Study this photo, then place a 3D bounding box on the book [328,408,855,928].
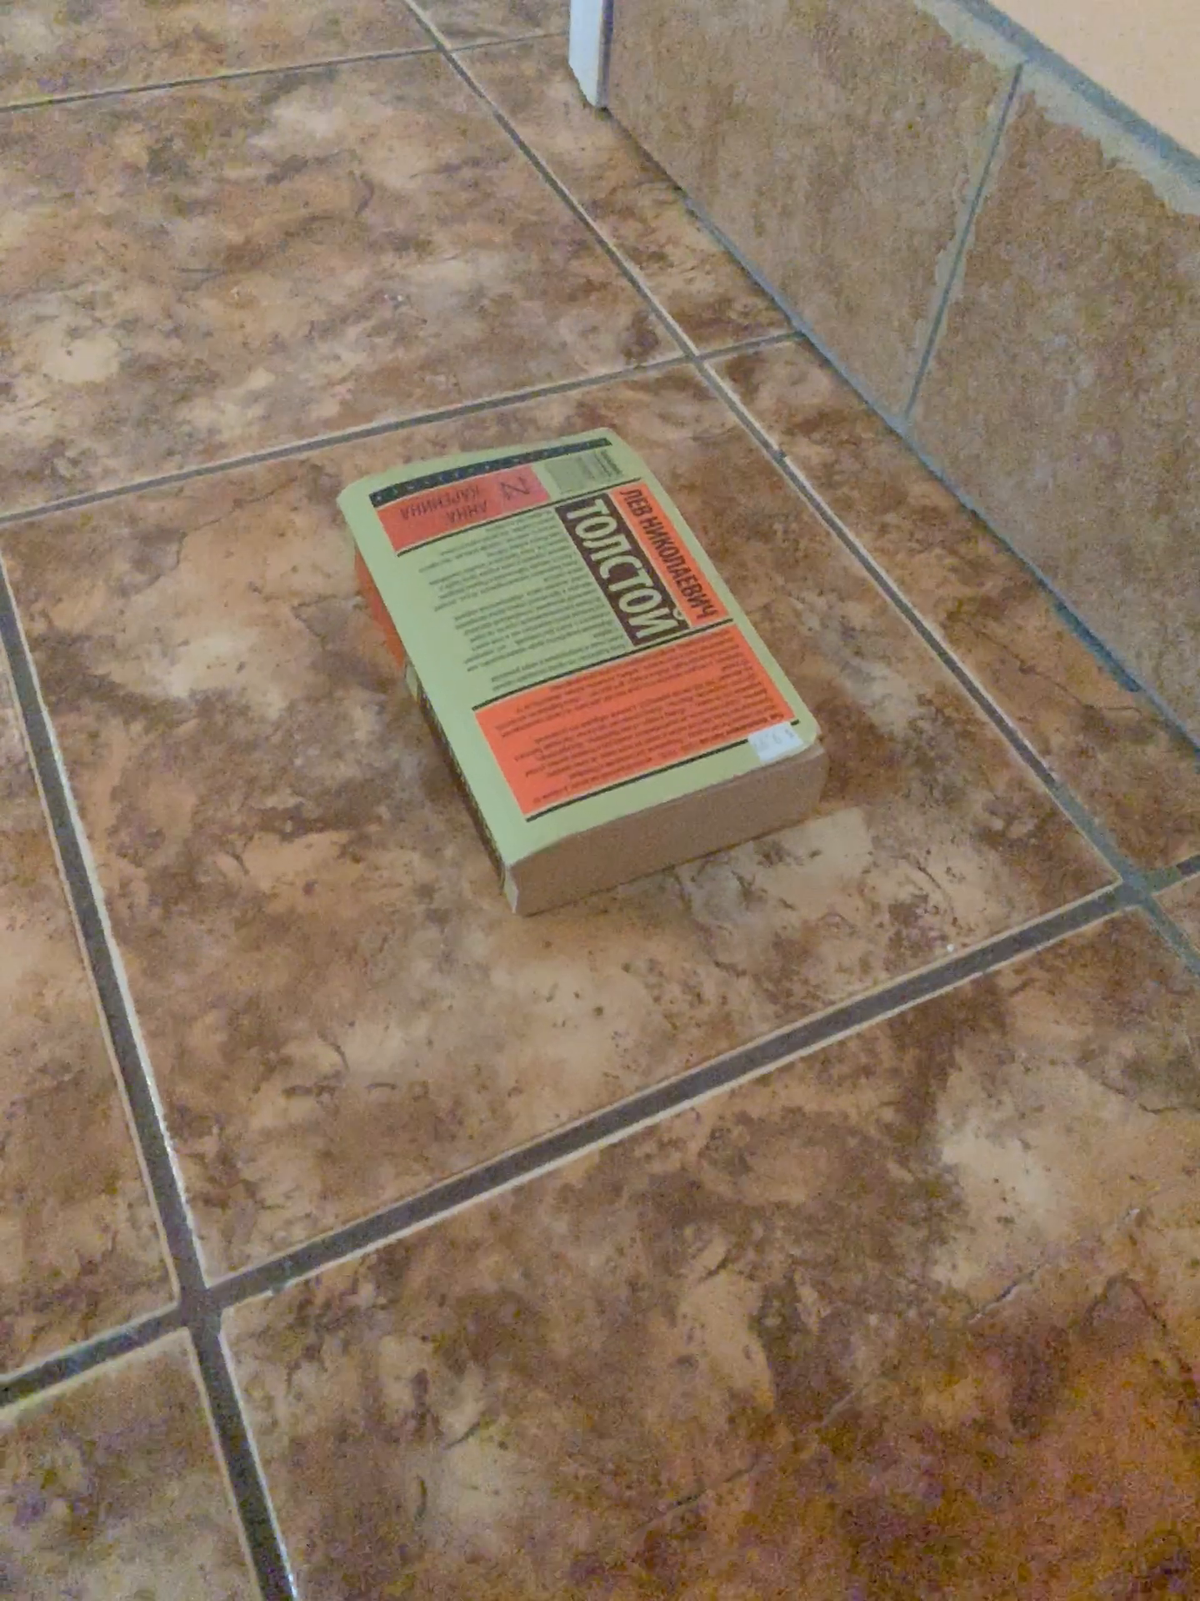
[{"bbox_3d":[-0.011,-0.059,0.450,0.120,0.044,0.185,-19,58,-18],"label":"book"}]
